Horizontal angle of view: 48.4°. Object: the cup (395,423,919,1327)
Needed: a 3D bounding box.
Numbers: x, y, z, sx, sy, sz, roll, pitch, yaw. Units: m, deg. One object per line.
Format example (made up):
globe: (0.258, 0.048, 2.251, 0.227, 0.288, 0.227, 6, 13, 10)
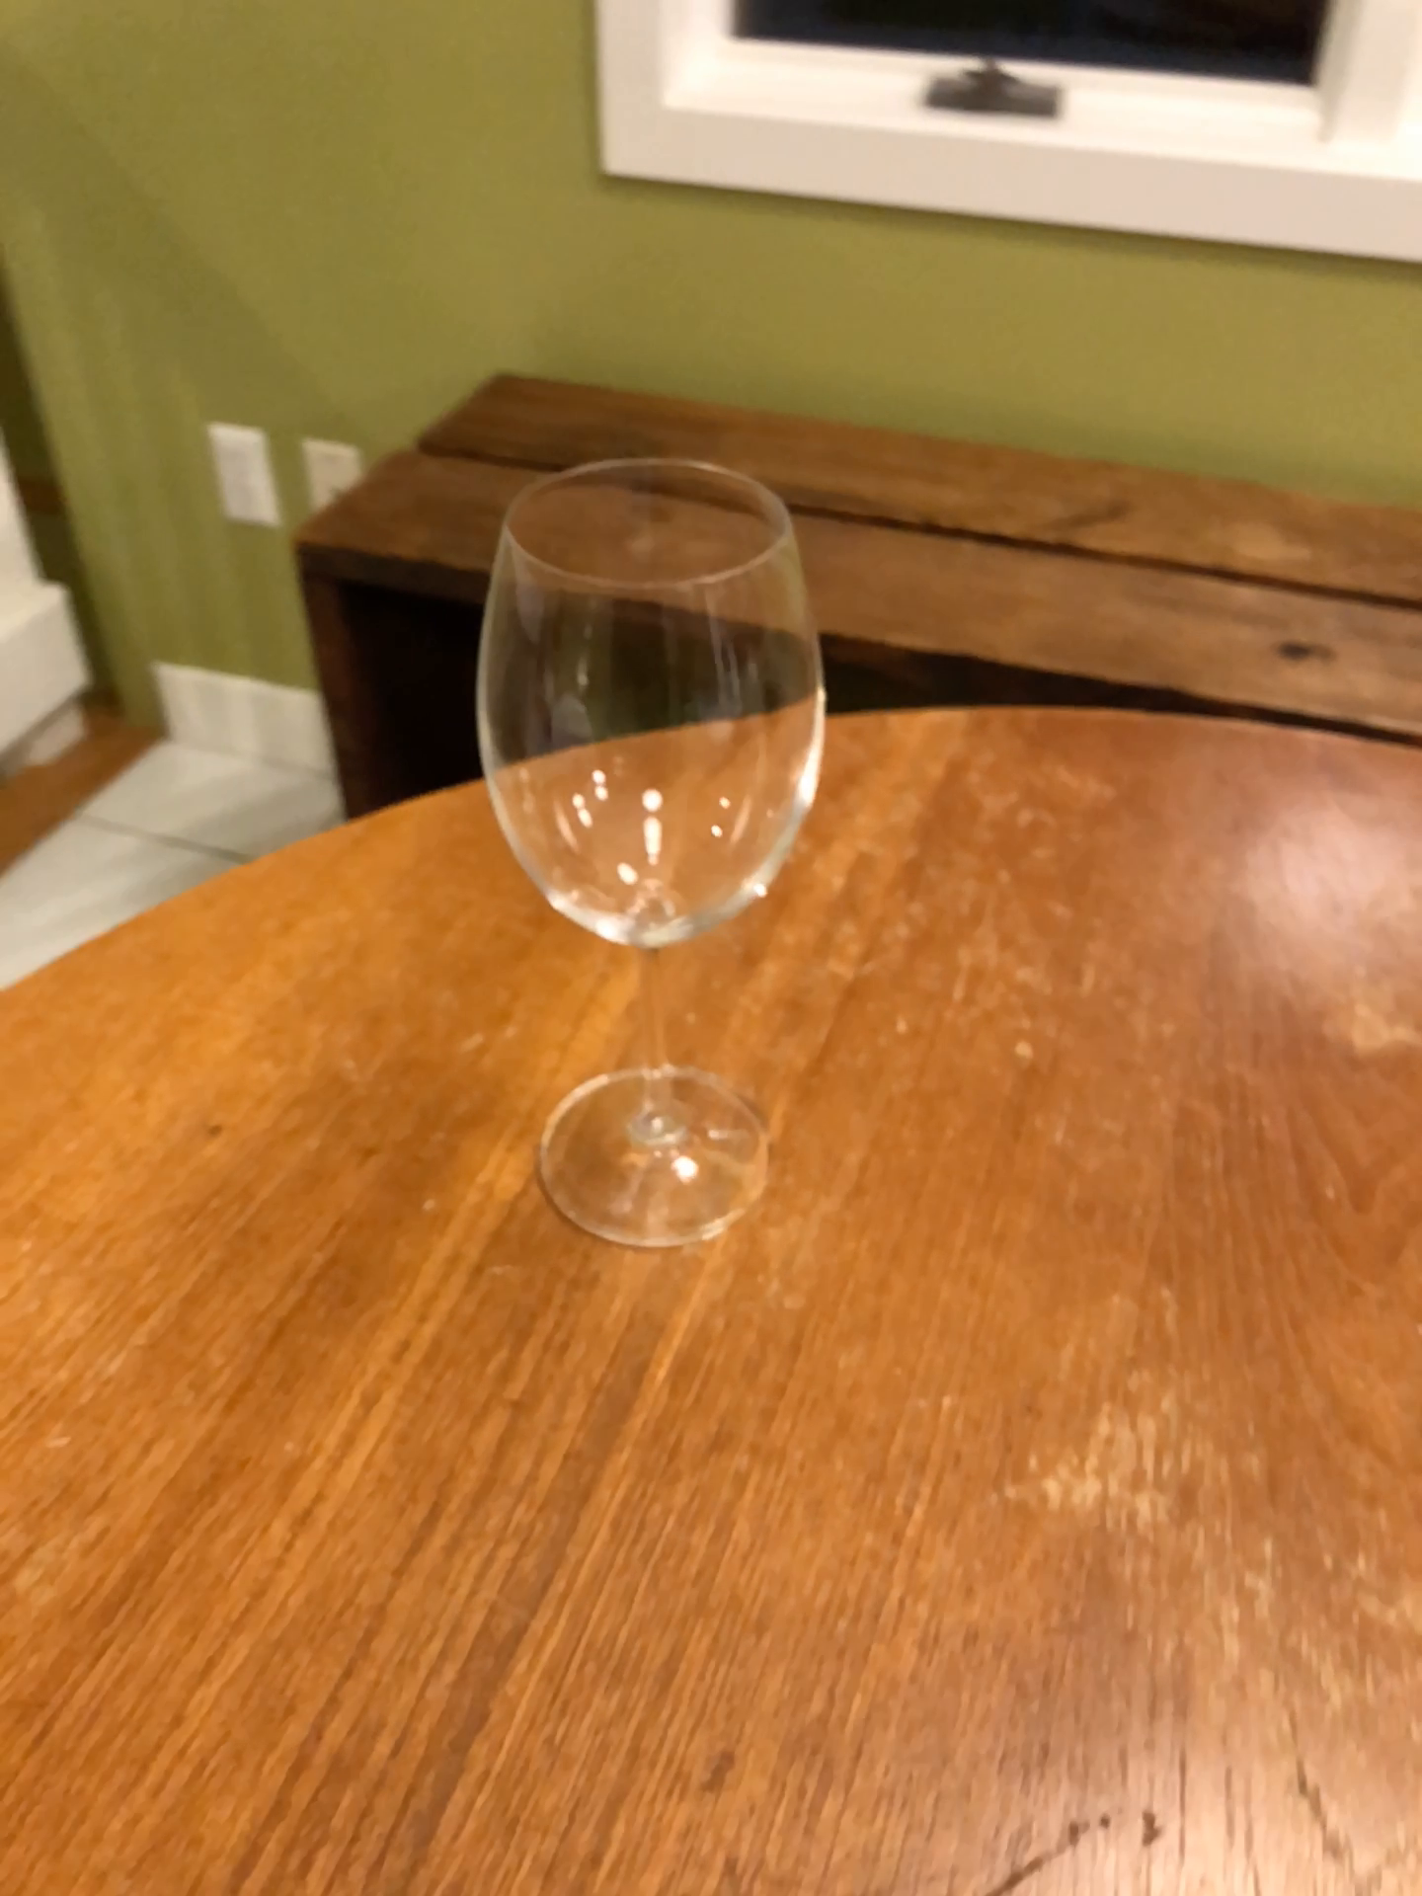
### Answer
cup: (-0.016, -0.016, 0.482, 0.097, 0.240, 0.101, 0, 40, 0)
